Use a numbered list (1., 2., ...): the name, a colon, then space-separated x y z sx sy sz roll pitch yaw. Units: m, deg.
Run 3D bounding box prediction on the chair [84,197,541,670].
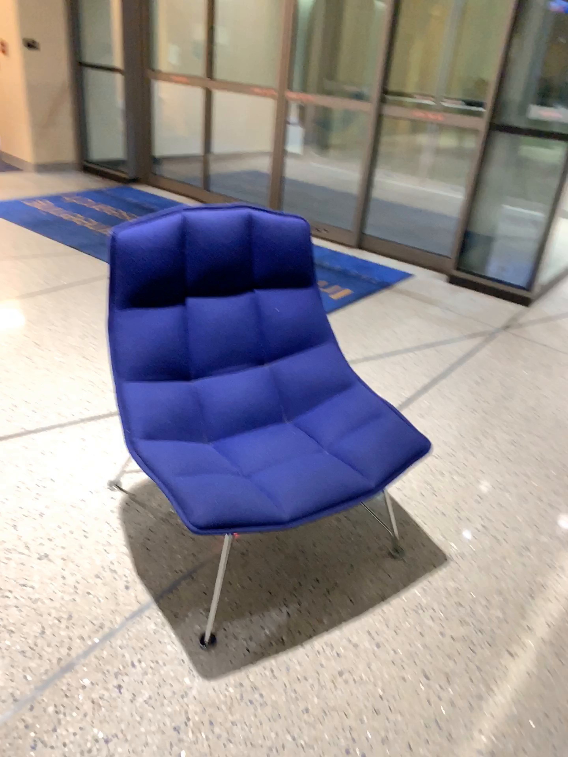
1. chair: -0.001 0.039 1.670 0.856 0.894 0.799 -12 33 -30
